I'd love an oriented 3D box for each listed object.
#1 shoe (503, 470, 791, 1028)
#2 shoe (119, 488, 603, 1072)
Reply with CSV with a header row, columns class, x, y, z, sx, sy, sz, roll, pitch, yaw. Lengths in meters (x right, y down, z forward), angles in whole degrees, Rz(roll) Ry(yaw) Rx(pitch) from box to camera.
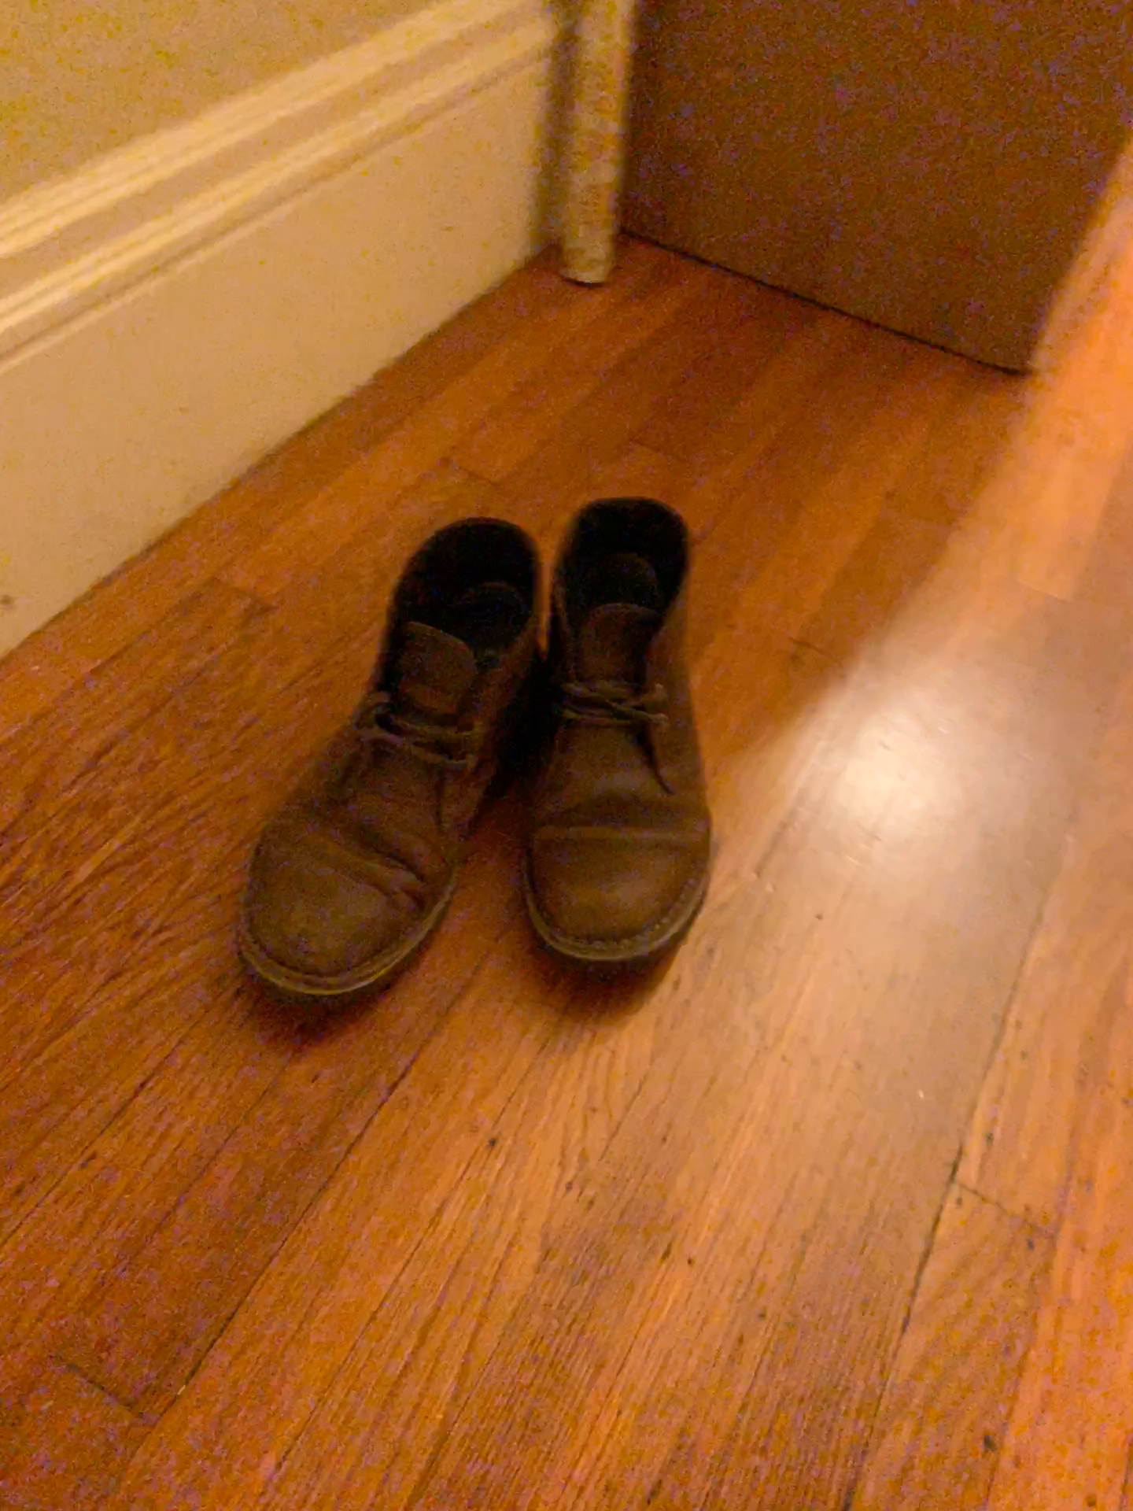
class,x,y,z,sx,sy,sz,roll,pitch,yaw
shoe,0.034,-0.015,0.654,0.120,0.119,0.301,4,49,-4
shoe,-0.093,-0.001,0.636,0.120,0.119,0.291,20,50,10
